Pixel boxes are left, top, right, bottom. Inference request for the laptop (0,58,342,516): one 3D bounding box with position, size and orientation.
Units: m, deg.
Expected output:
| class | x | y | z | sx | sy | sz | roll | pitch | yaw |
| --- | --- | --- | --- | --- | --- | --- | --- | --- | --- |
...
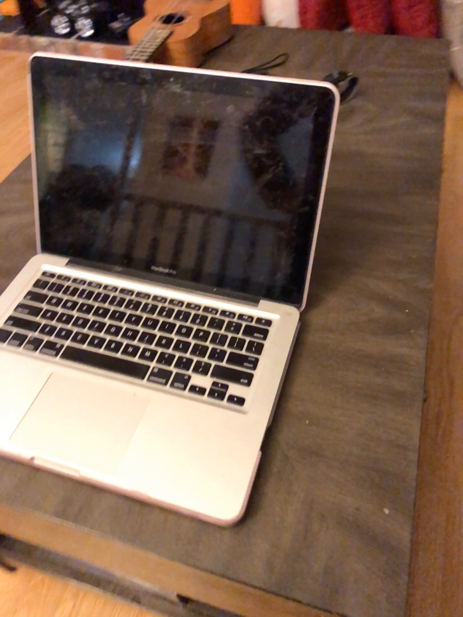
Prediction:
| class | x | y | z | sx | sy | sz | roll | pitch | yaw |
| --- | --- | --- | --- | --- | --- | --- | --- | --- | --- |
| laptop | -0.096 | -0.049 | 0.457 | 0.312 | 0.185 | 0.322 | 12 | 51 | 14 |
